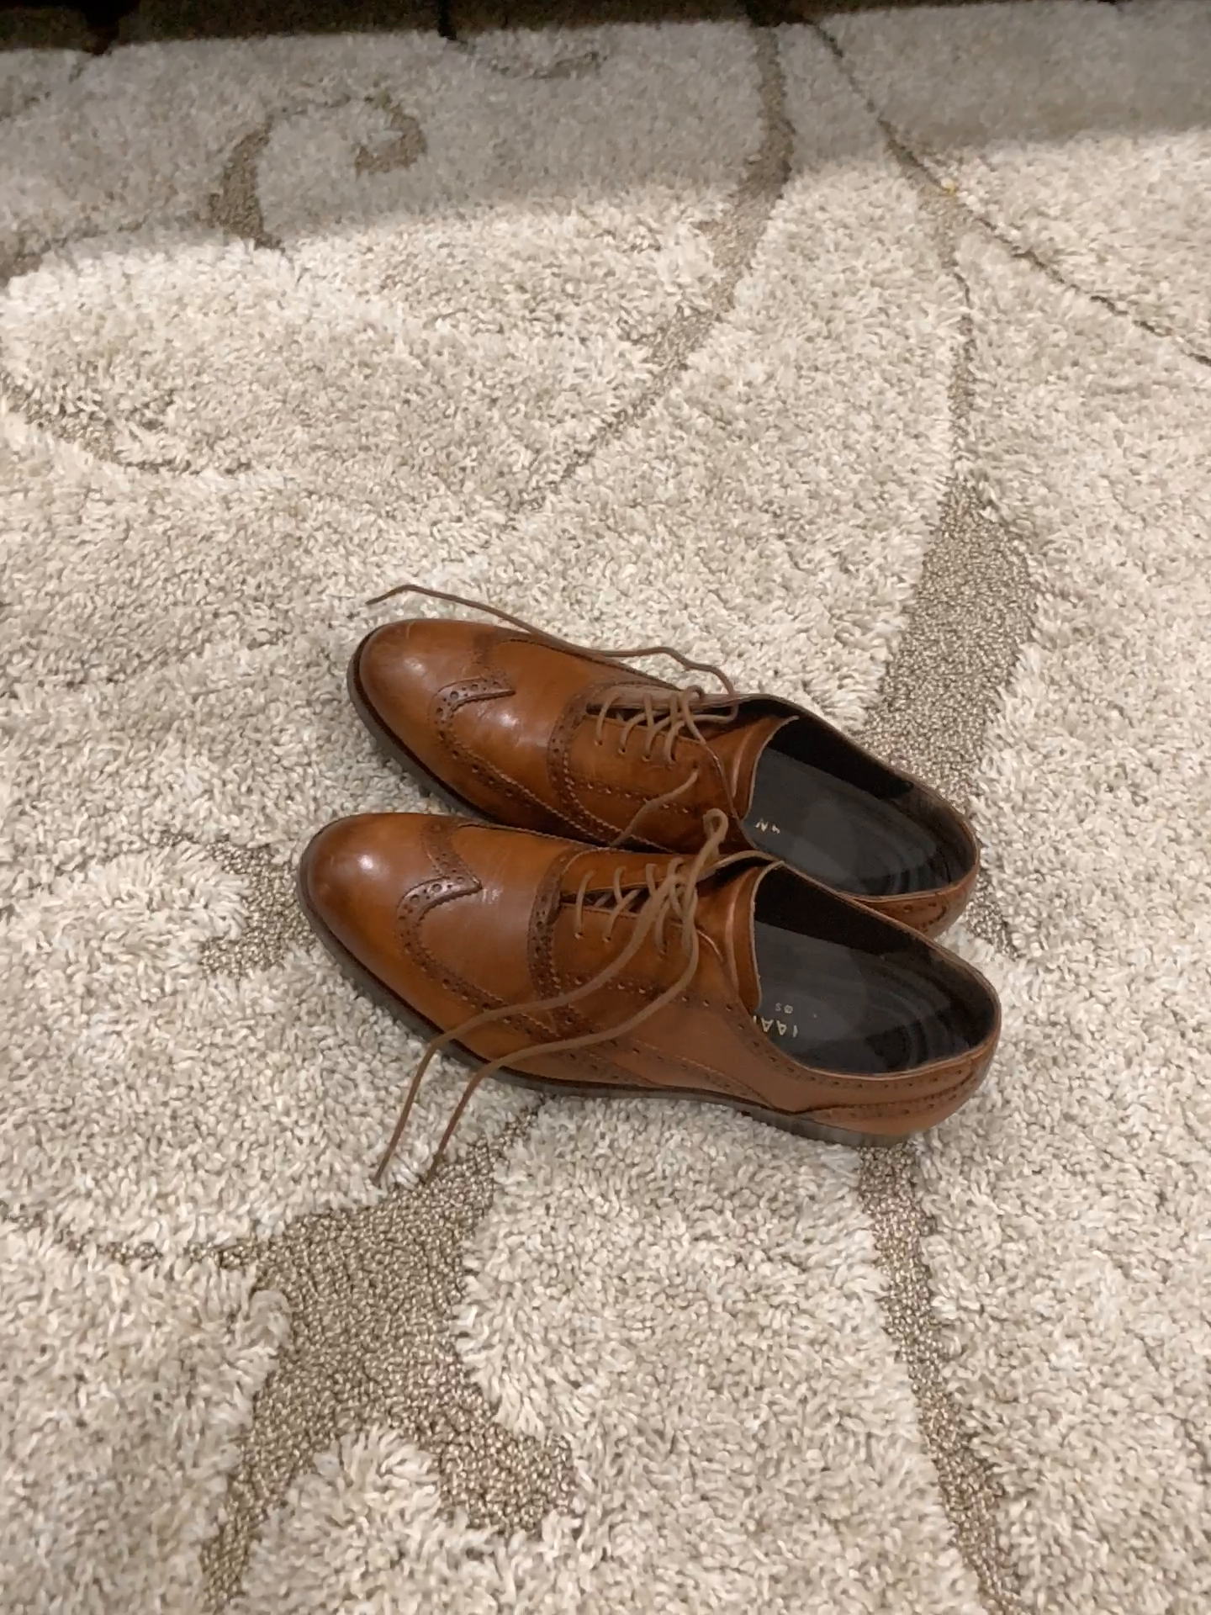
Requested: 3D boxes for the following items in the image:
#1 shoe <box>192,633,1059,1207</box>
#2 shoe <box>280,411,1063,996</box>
[{"bbox_3d":[0.007,0.051,0.479,0.280,0.131,0.105,16,62,1],"label":"shoe"},{"bbox_3d":[0.023,-0.038,0.527,0.282,0.131,0.105,21,62,3],"label":"shoe"}]
